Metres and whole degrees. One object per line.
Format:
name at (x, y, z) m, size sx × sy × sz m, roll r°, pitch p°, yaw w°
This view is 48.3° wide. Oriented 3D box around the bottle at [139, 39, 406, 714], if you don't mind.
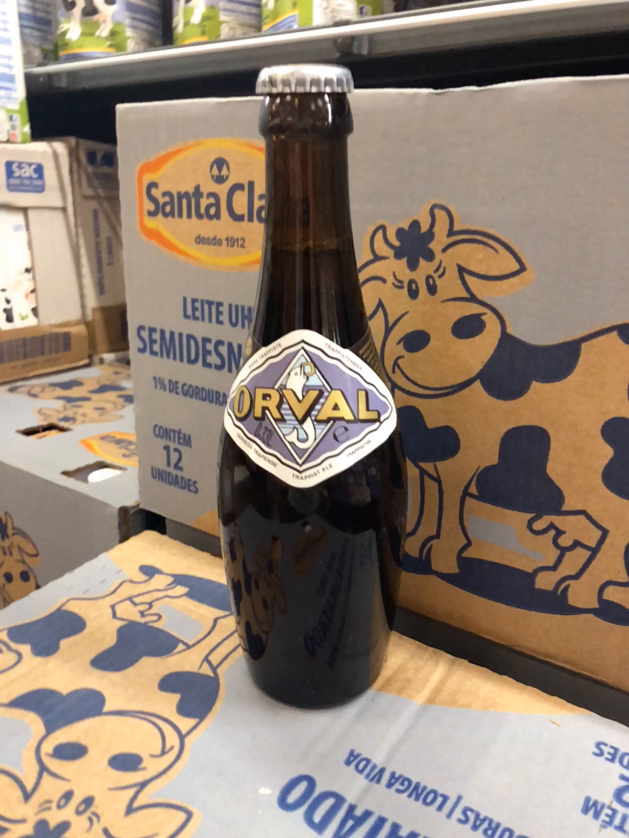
bottle at (-0.009, -0.008, 0.242) m, size 0.070 × 0.209 × 0.060 m, roll 2°, pitch 18°, yaw 4°
